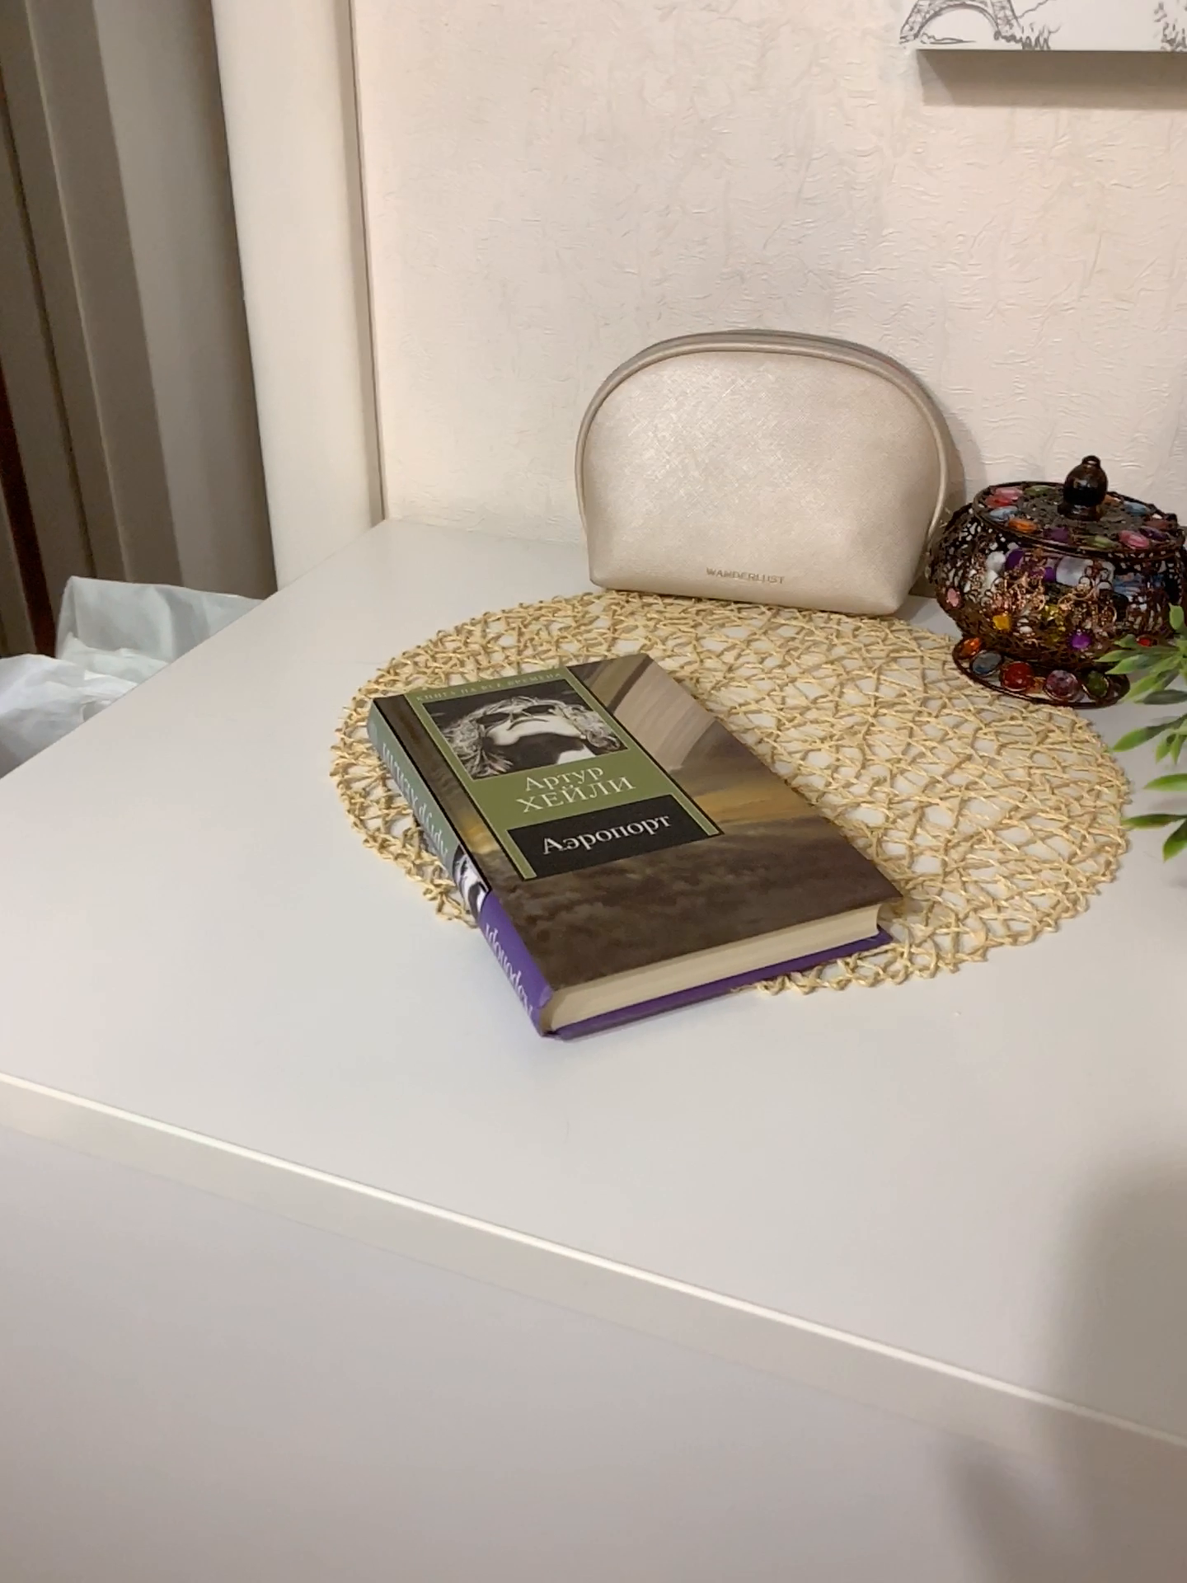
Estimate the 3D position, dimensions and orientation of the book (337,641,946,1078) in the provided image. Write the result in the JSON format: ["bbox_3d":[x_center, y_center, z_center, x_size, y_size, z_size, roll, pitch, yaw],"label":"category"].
[{"bbox_3d":[0.002,0.006,0.471,0.150,0.020,0.232,-12,33,-20],"label":"book"}]
